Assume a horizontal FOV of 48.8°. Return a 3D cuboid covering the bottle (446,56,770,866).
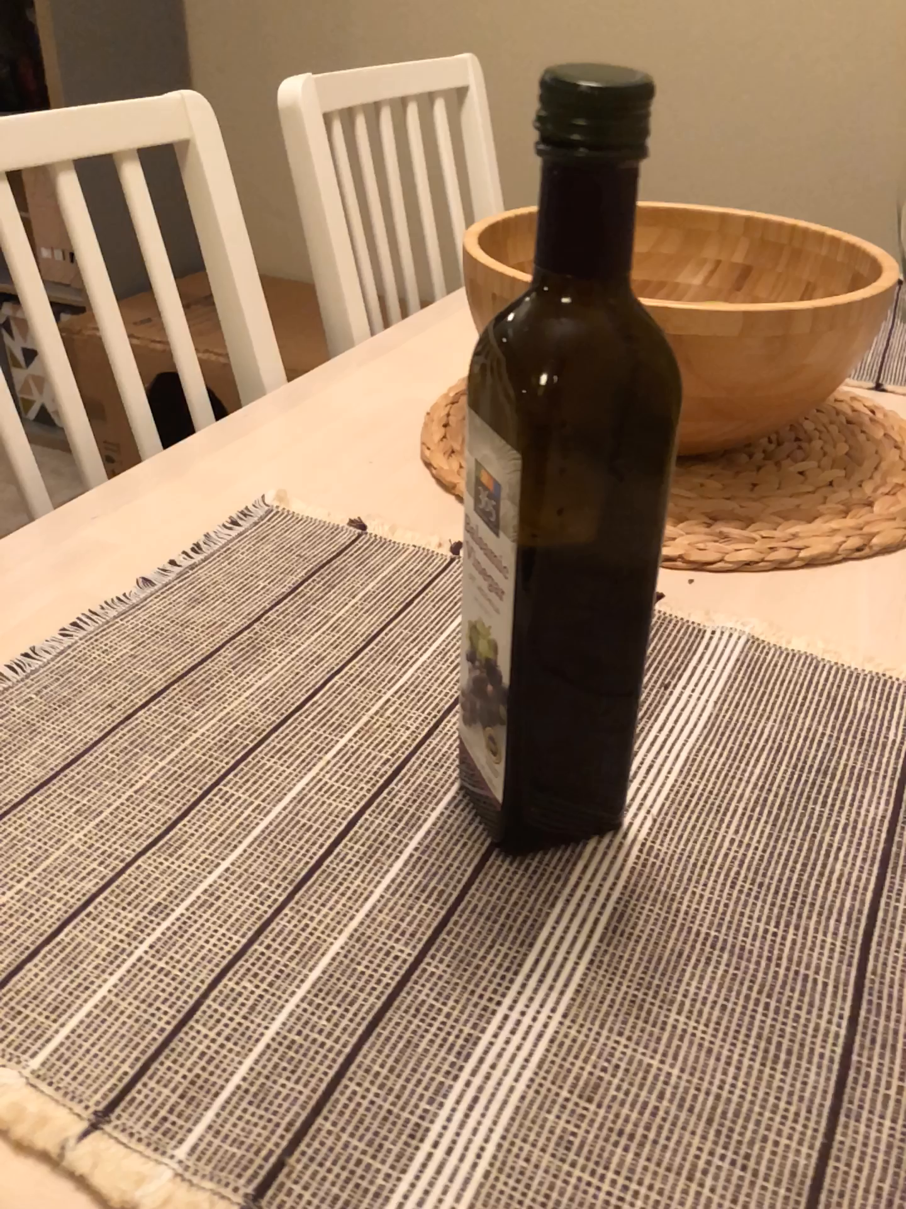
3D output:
[{"bbox_3d":[0.039,-0.034,0.336,0.060,0.261,0.060,1,32,-1],"label":"bottle"}]
